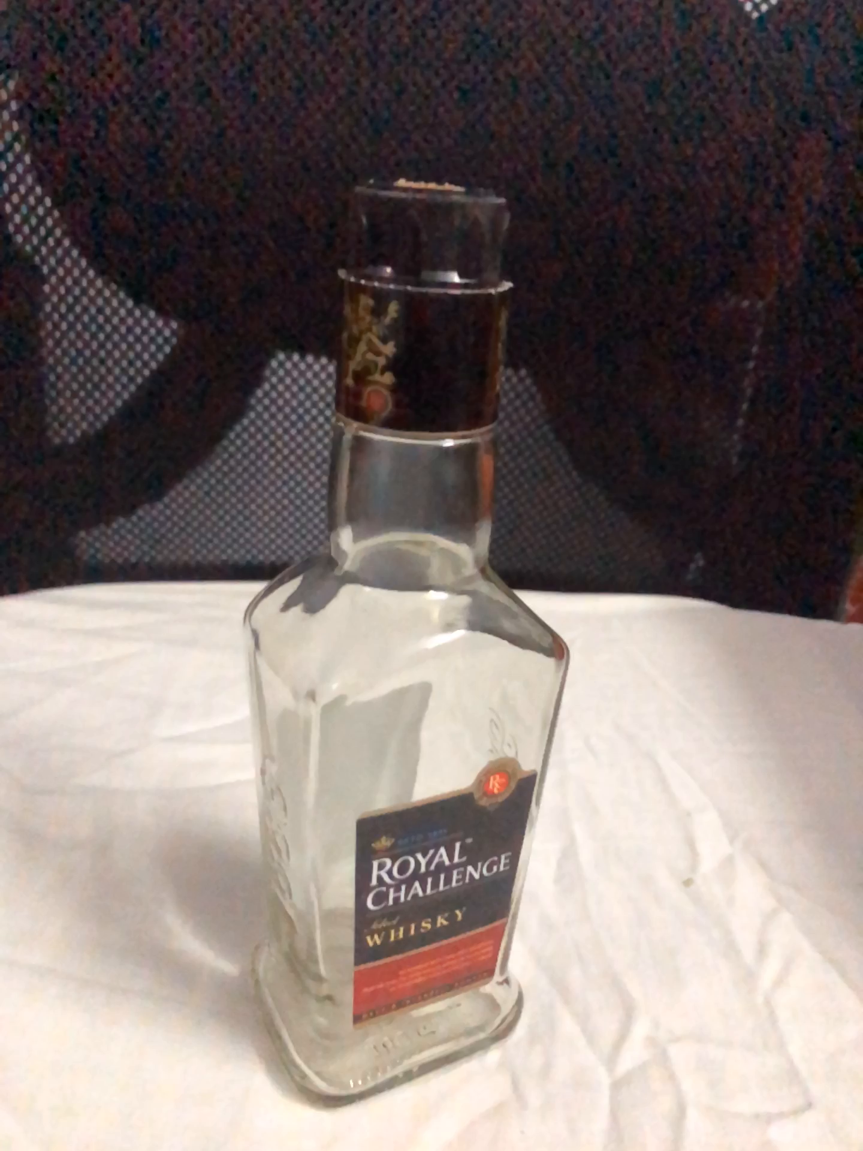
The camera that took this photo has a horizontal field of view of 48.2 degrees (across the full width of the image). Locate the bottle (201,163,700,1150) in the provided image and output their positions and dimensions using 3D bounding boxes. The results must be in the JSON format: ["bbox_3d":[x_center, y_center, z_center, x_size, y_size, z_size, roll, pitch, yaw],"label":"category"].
[{"bbox_3d":[-0.006,0.024,0.205,0.070,0.199,0.050,-8,27,-27],"label":"bottle"}]
